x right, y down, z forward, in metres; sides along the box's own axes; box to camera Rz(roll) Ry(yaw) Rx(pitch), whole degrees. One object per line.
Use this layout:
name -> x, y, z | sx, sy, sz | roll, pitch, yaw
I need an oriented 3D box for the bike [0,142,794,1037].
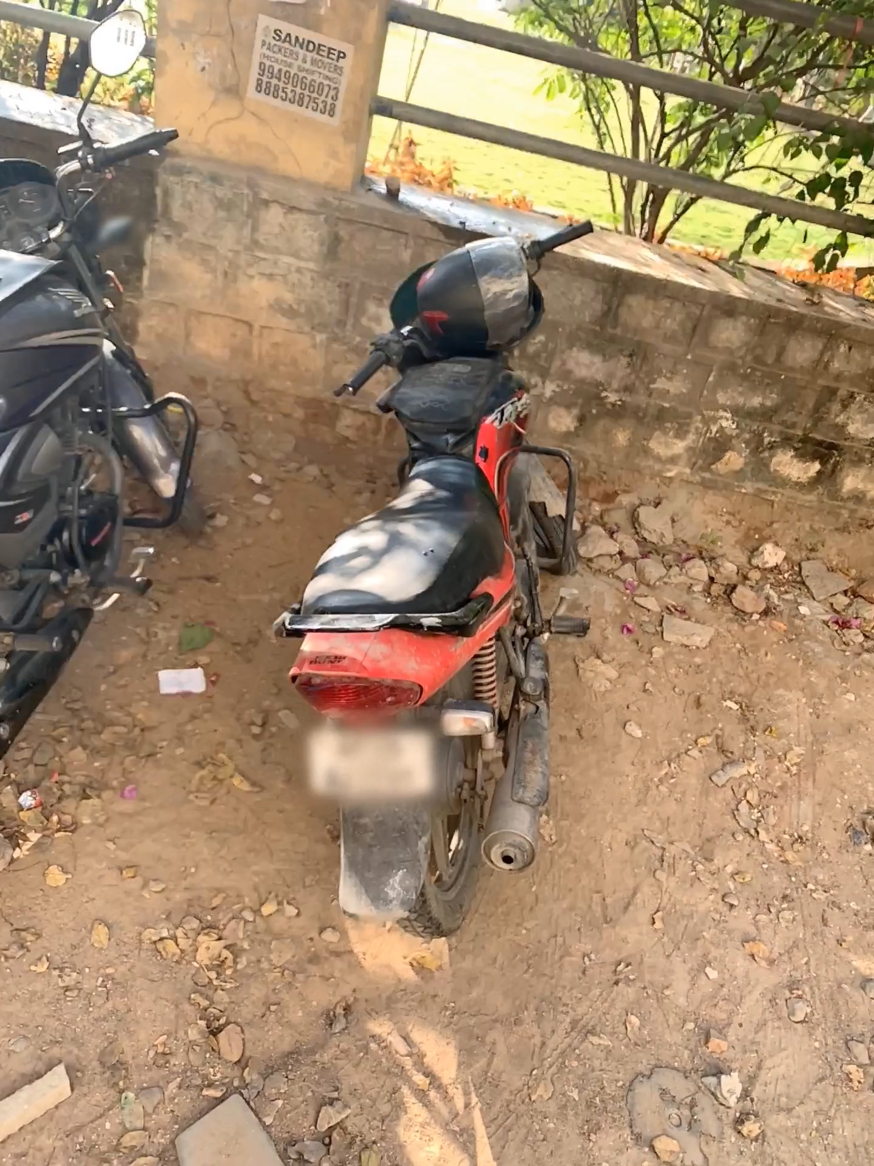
bike -> -0.107, -0.150, 2.082 | 1.063, 1.246, 1.603 | 15, 32, 0
